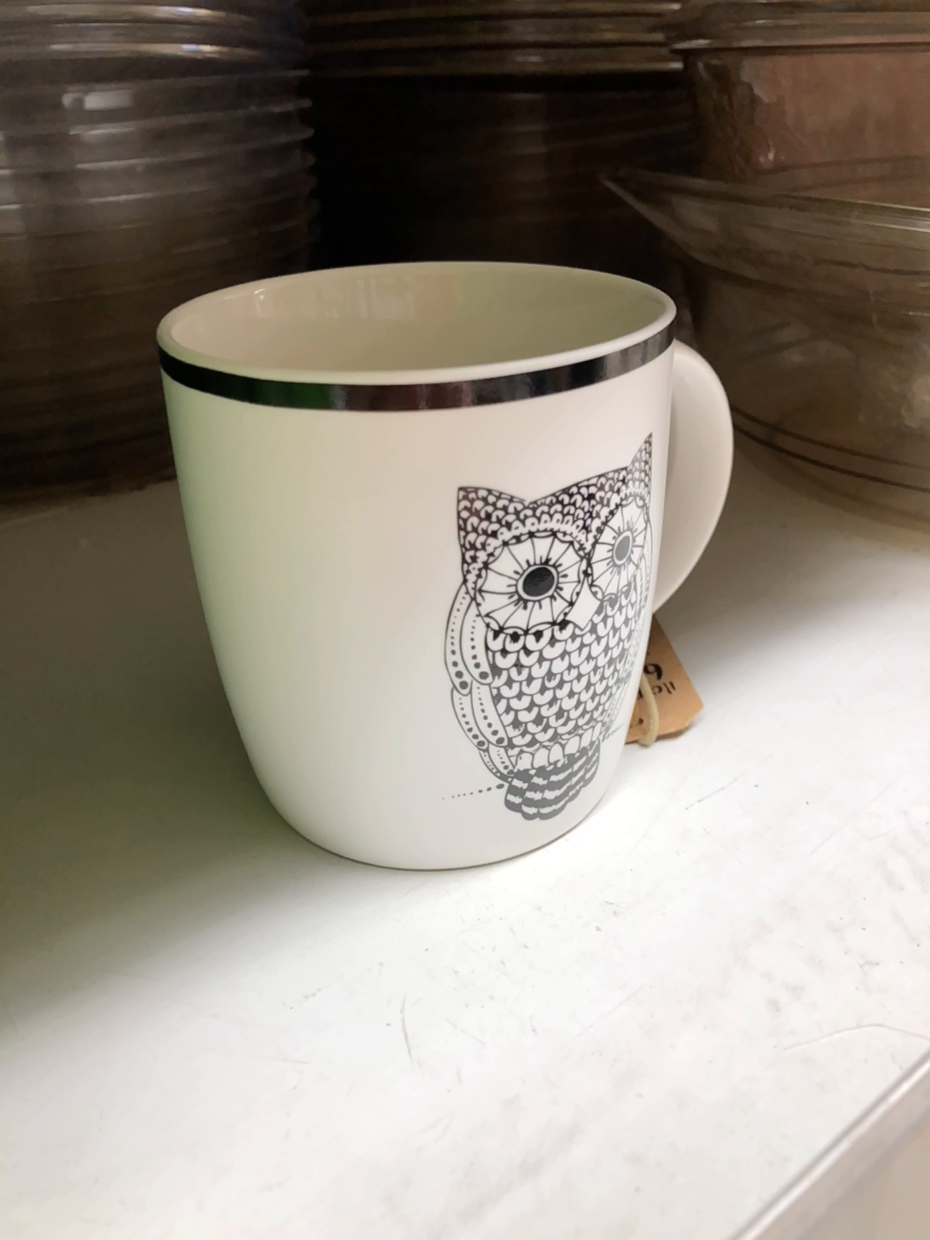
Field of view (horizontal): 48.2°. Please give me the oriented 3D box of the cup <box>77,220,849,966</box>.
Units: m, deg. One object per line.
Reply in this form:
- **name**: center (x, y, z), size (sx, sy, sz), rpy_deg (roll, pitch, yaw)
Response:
- **cup**: center (0.005, -0.019, 0.200), size (0.111, 0.093, 0.077), rpy_deg (-26, 36, -38)
